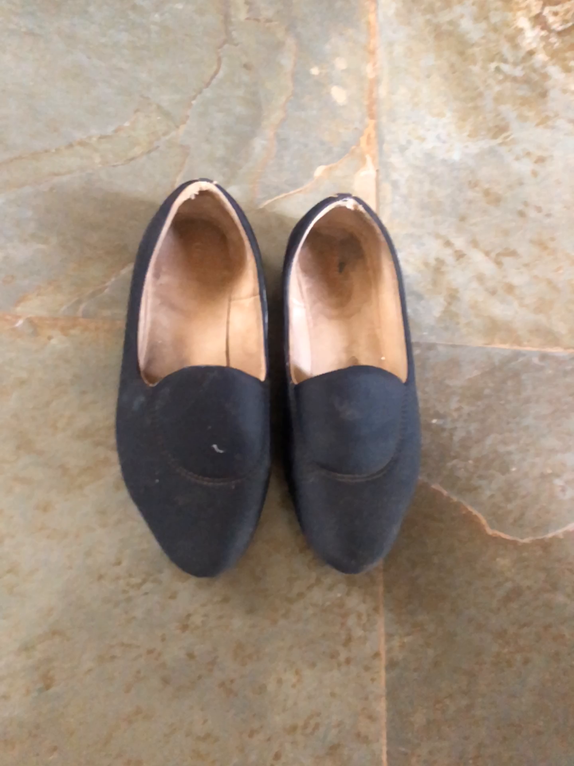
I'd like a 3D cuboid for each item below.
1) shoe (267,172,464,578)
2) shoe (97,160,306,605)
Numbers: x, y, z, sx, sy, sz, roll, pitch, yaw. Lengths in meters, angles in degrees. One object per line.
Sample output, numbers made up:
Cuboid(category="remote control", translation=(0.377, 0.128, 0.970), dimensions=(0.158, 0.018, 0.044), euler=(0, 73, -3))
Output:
Cuboid(category="shoe", translation=(0.046, -0.005, 0.450), dimensions=(0.110, 0.080, 0.271), euler=(2, 75, -10))
Cuboid(category="shoe", translation=(-0.062, -0.005, 0.417), dimensions=(0.110, 0.080, 0.270), euler=(-2, 75, -11))
